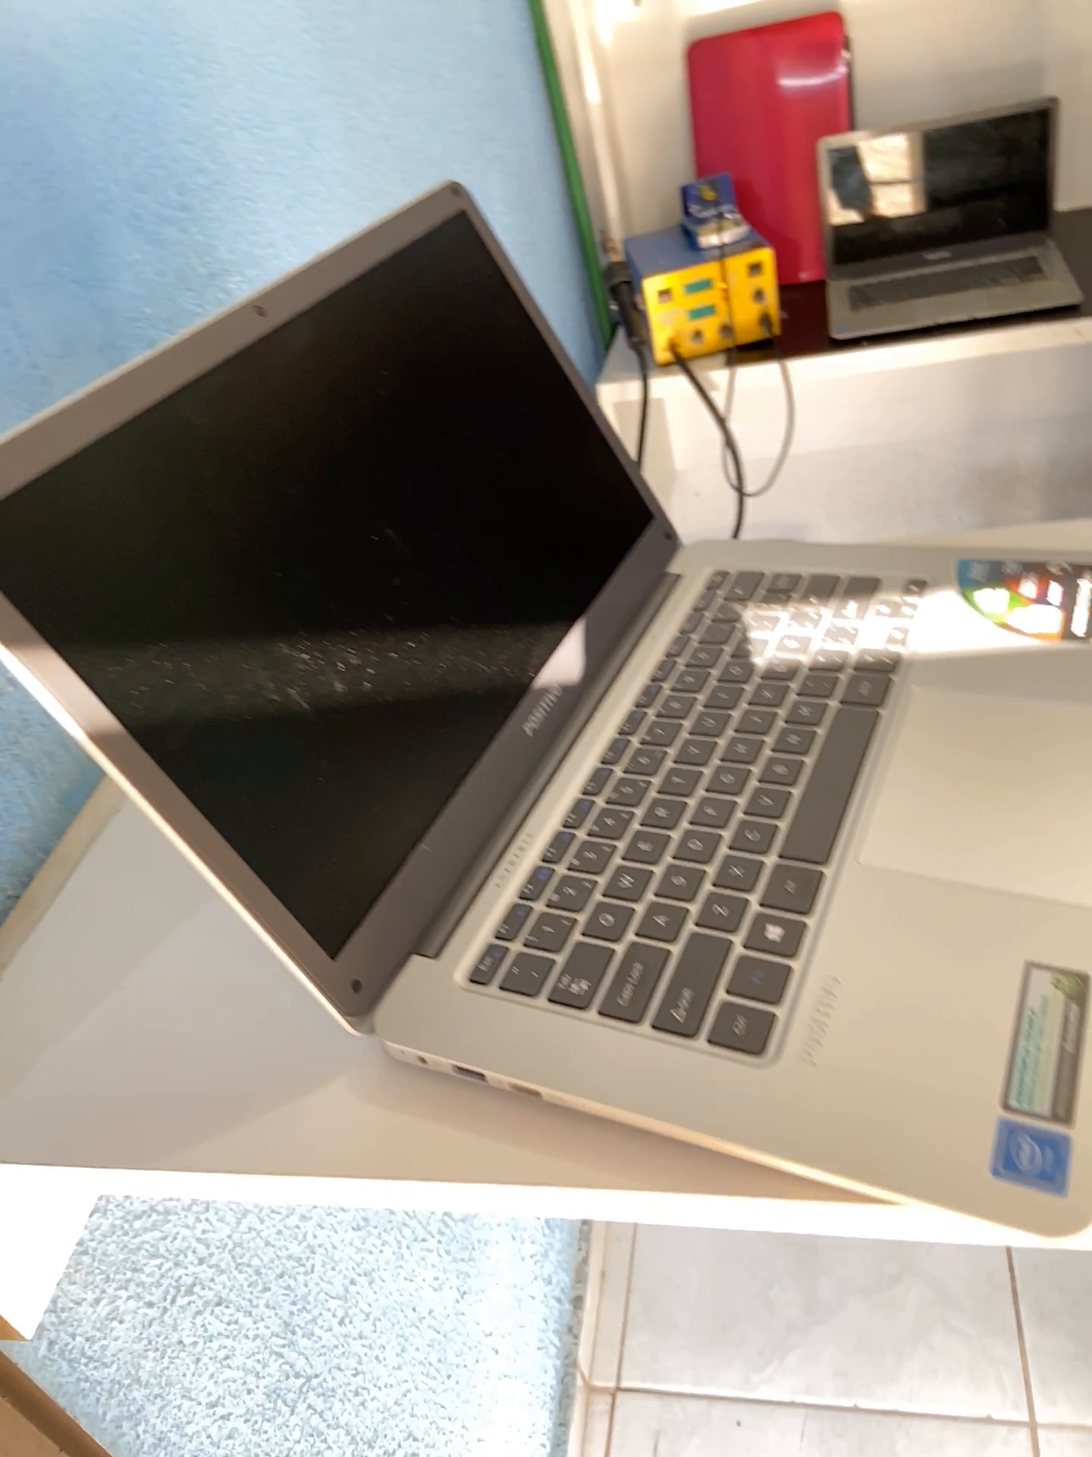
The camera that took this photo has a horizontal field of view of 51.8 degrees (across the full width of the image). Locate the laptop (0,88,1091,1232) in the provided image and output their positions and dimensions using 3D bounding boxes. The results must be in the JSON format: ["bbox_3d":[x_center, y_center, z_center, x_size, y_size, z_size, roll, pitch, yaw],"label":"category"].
[{"bbox_3d":[0.040,-0.068,0.404,0.311,0.189,0.334,6,40,26],"label":"laptop"}]
